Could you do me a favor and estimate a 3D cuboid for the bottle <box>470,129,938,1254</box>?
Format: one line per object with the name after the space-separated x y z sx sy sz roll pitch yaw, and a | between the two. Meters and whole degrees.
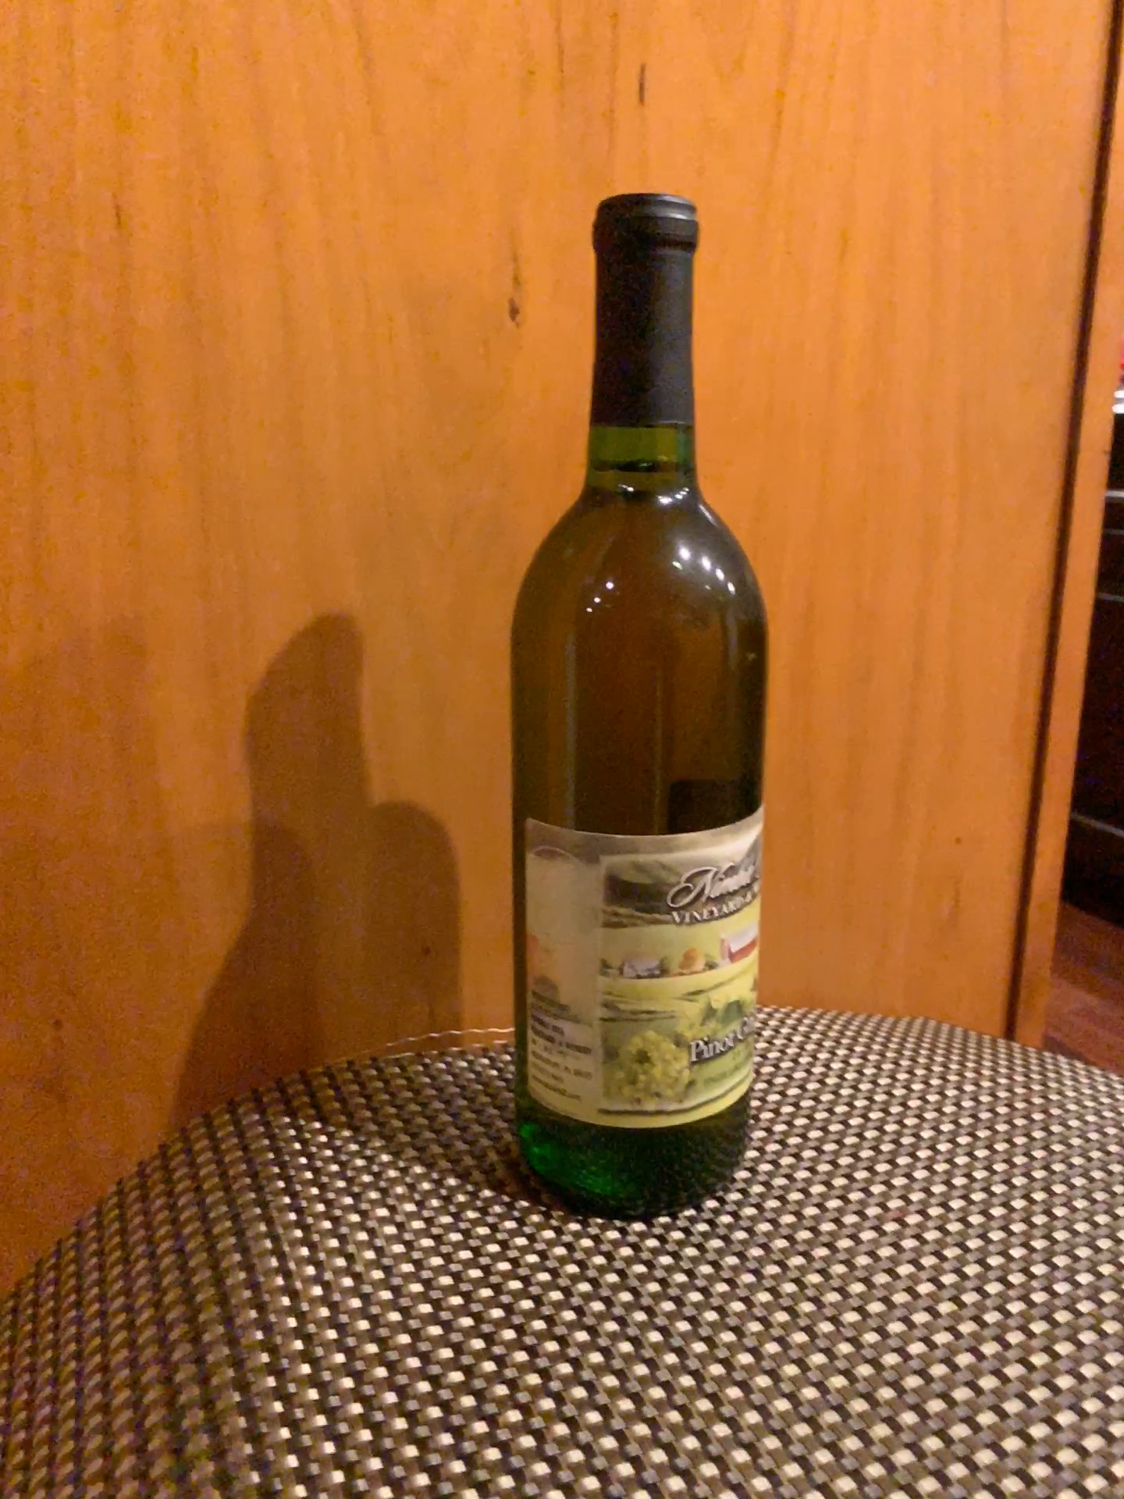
0.036 -0.013 0.331 0.090 0.269 0.080 -12 18 -40 | bottle
